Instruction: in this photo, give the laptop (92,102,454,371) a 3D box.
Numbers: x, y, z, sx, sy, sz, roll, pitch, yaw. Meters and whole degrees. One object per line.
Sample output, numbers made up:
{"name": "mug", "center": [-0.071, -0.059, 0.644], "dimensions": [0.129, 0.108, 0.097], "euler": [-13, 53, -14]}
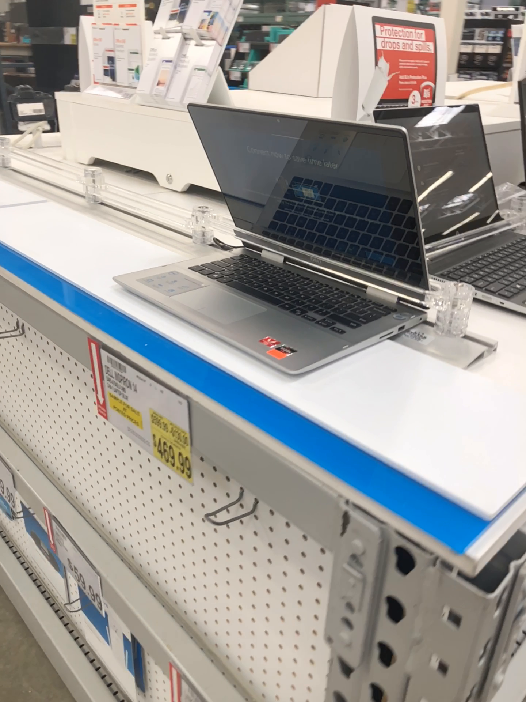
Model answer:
{"name": "laptop", "center": [-0.003, -0.159, 0.649], "dimensions": [0.223, 0.198, 0.319], "euler": [-22, 35, -39]}
